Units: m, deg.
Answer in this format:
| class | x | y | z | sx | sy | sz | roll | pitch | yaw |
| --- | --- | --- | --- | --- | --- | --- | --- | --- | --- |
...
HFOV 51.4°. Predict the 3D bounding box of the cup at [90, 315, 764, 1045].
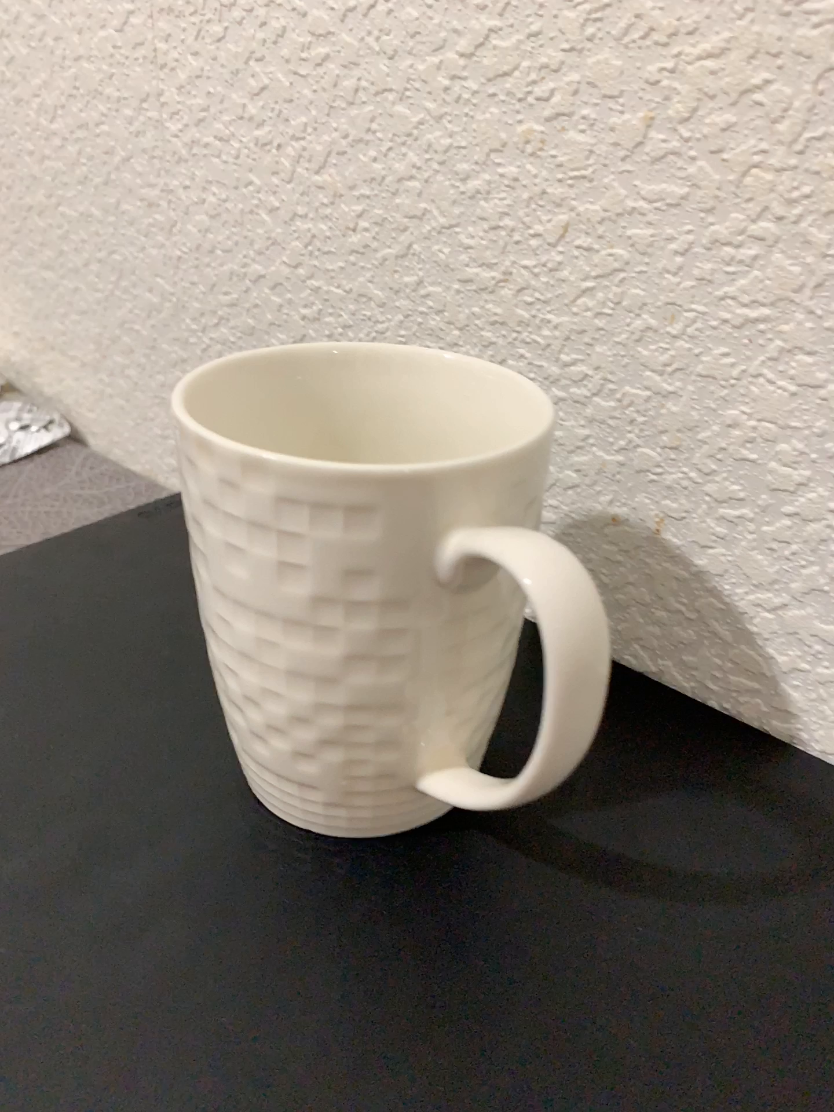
| class | x | y | z | sx | sy | sz | roll | pitch | yaw |
| --- | --- | --- | --- | --- | --- | --- | --- | --- | --- |
| cup | -0.005 | 0.014 | 0.206 | 0.081 | 0.105 | 0.120 | -23 | 37 | -36 |
